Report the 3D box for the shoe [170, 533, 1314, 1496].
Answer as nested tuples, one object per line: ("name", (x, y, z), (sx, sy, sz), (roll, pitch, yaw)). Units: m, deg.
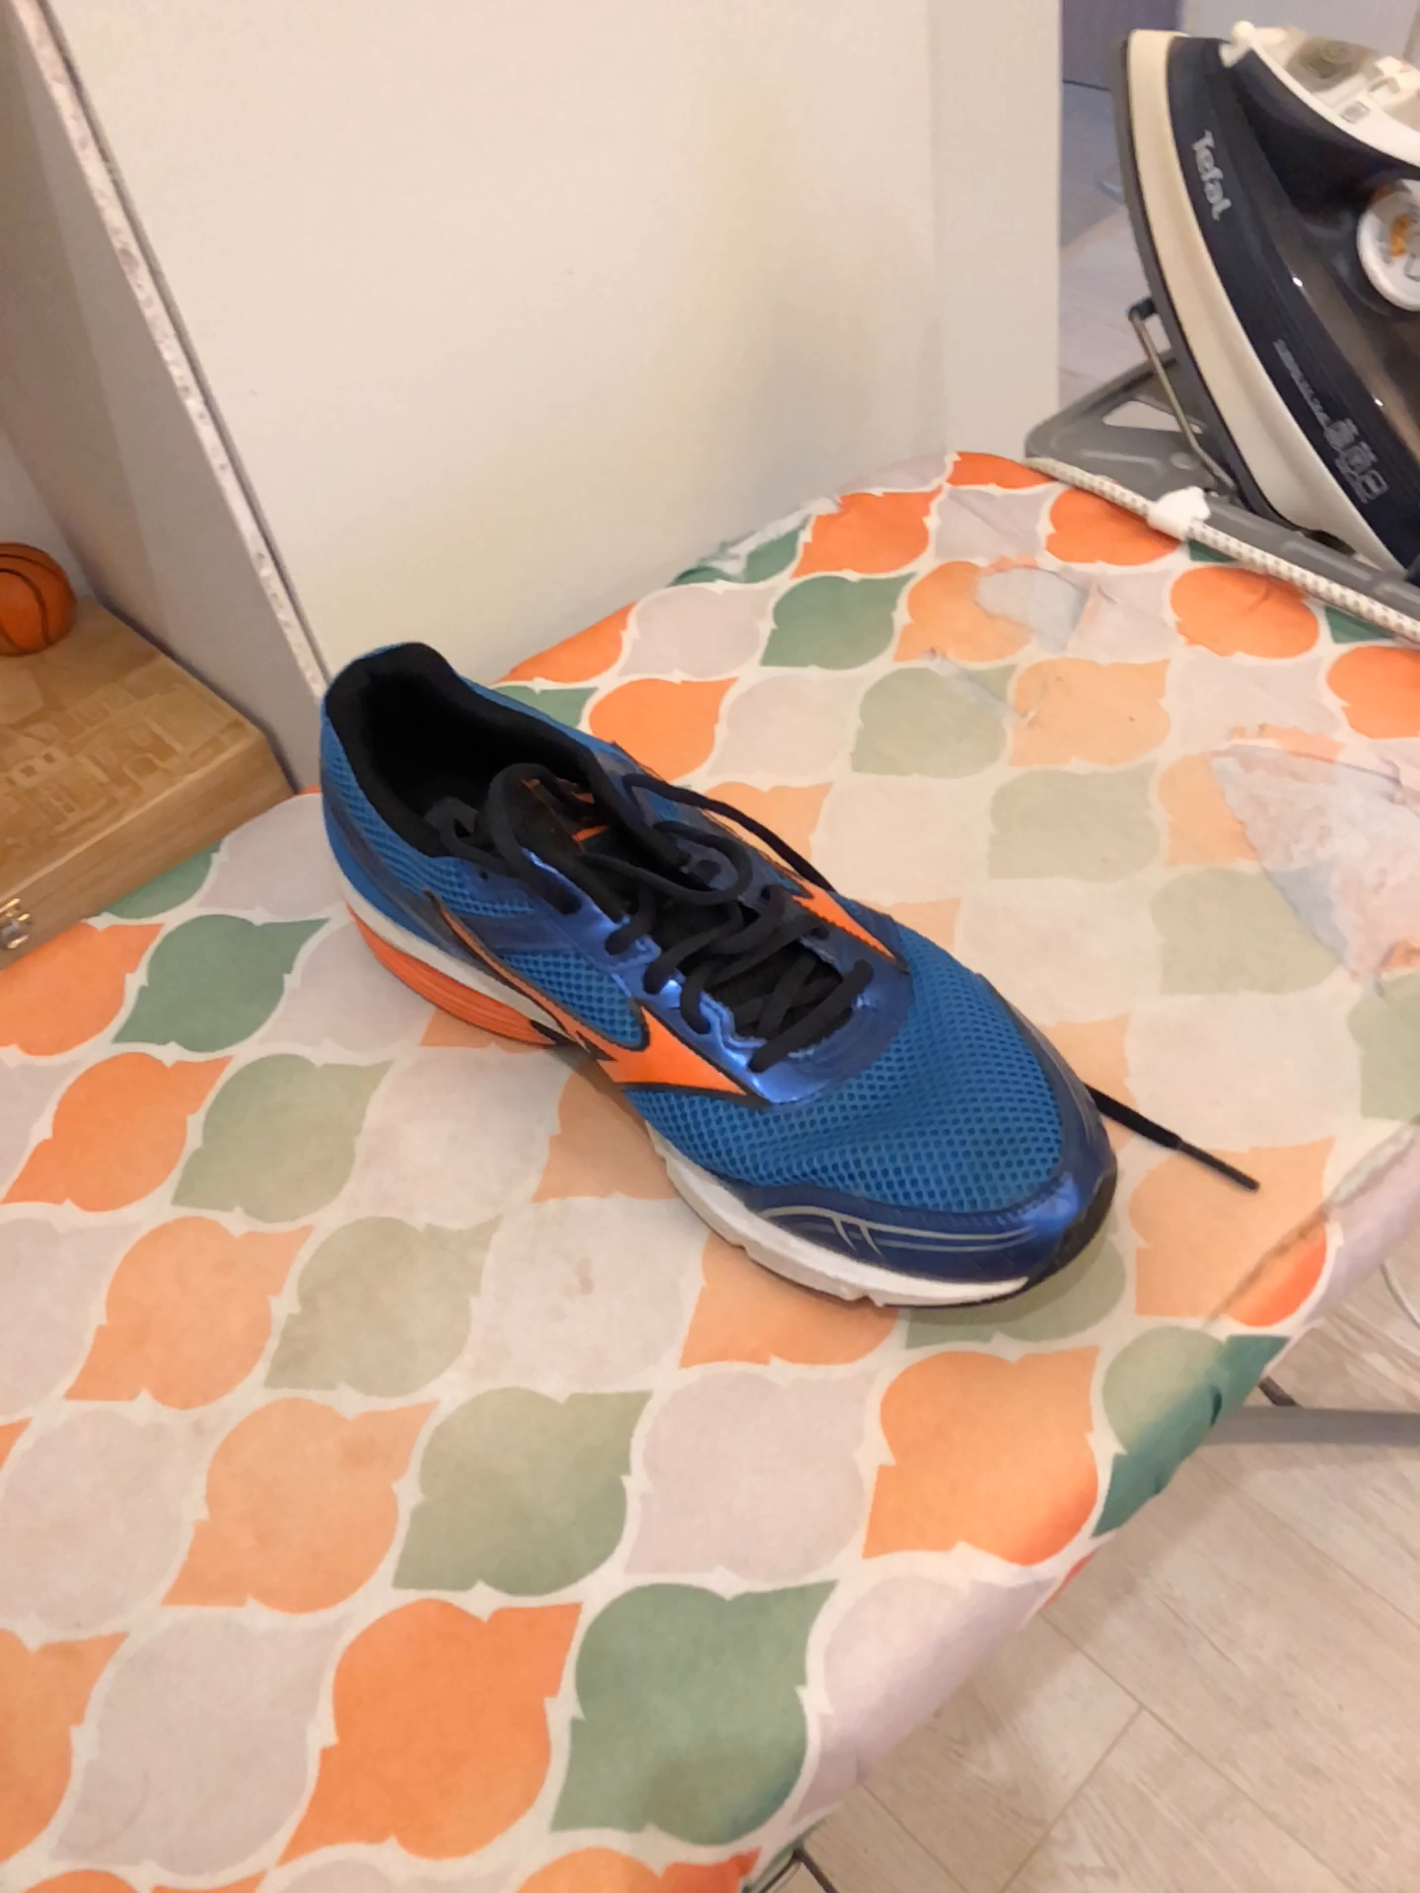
("shoe", (-0.003, 0.001, 0.463), (0.311, 0.109, 0.120), (30, 63, 31))
